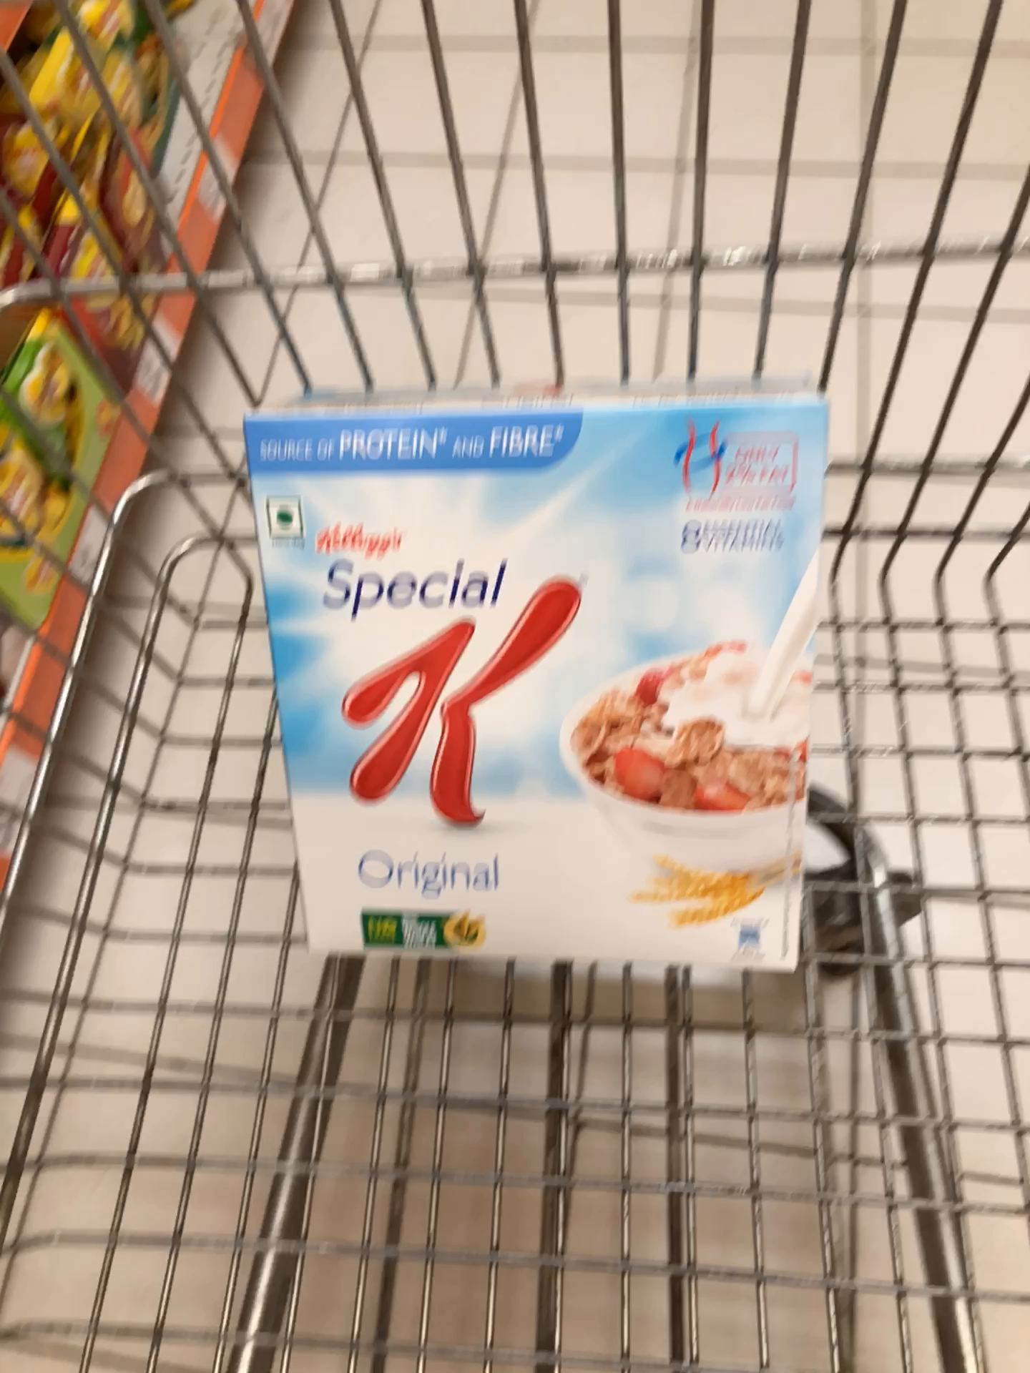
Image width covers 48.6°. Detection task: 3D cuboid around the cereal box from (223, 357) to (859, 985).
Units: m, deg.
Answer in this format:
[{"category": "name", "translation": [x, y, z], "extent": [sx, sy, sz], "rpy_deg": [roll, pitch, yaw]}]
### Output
[{"category": "cereal box", "translation": [0.012, -0.004, 0.411], "extent": [0.190, 0.209, 0.070], "rpy_deg": [0, 22, 6]}]
